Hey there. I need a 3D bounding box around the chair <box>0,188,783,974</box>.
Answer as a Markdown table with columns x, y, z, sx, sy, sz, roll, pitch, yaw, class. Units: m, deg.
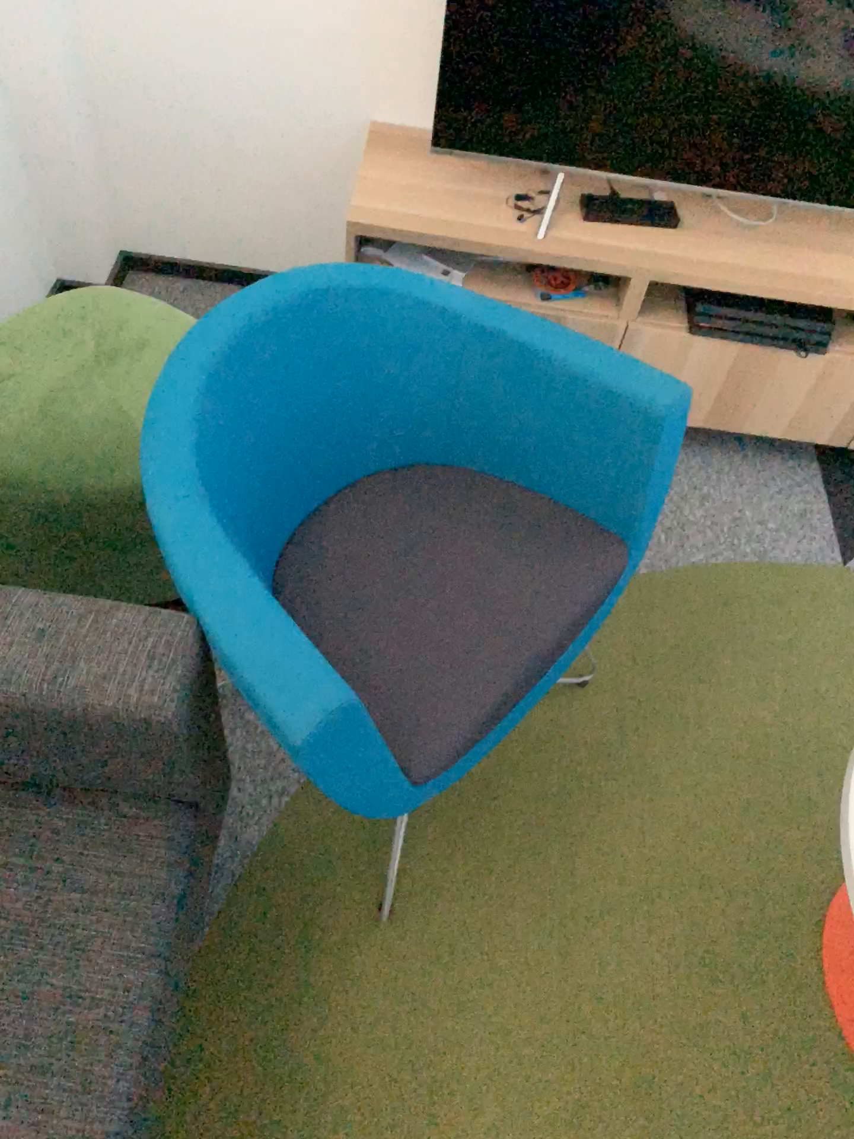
| x | y | z | sx | sy | sz | roll | pitch | yaw | class |
| --- | --- | --- | --- | --- | --- | --- | --- | --- | --- |
| -0.046 | 0.010 | 1.326 | 0.620 | 0.687 | 0.762 | 37 | 58 | 18 | chair |
